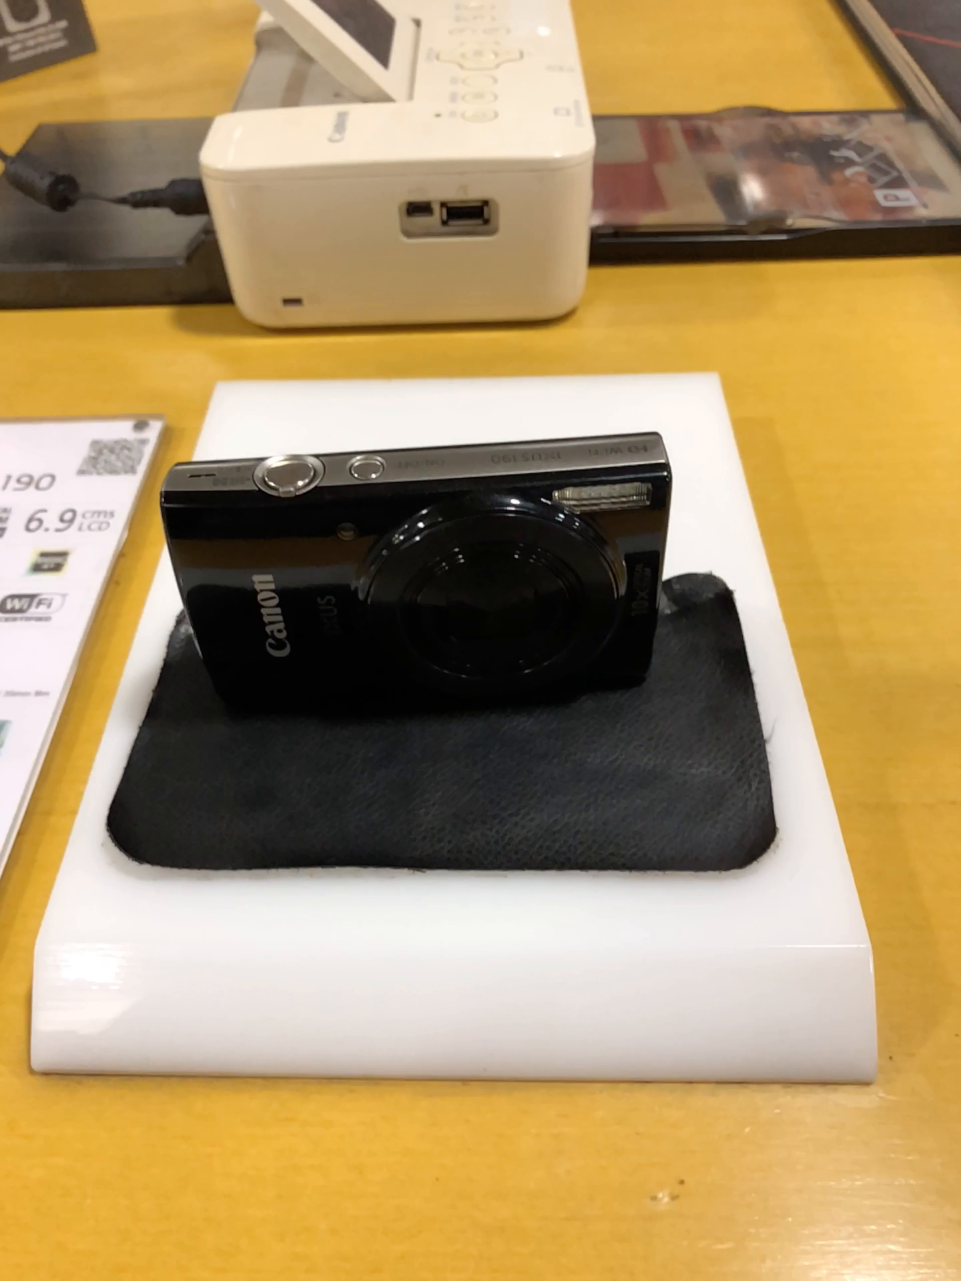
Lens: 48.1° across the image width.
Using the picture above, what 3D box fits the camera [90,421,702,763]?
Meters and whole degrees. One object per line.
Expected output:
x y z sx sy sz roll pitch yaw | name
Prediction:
-0.014 -0.008 0.204 0.100 0.050 0.030 -5 46 -3 | camera
